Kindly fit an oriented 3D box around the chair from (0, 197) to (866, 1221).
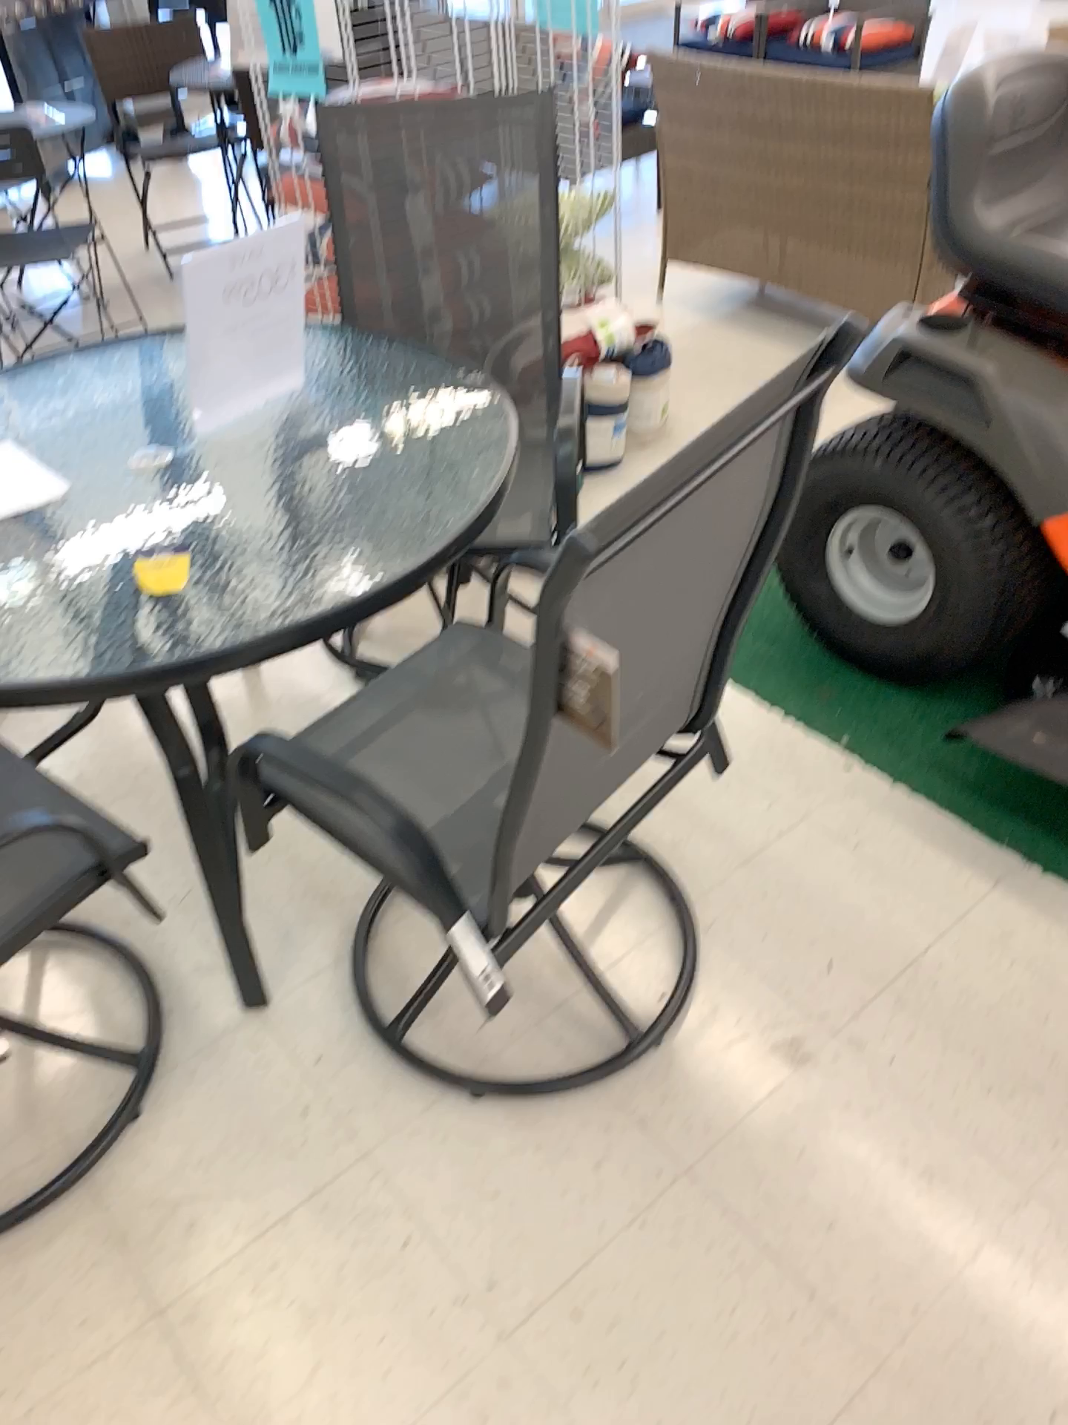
[{"bbox_3d":[-0.073,-0.014,1.365,0.642,0.975,0.582,24,47,30],"label":"chair"}]
